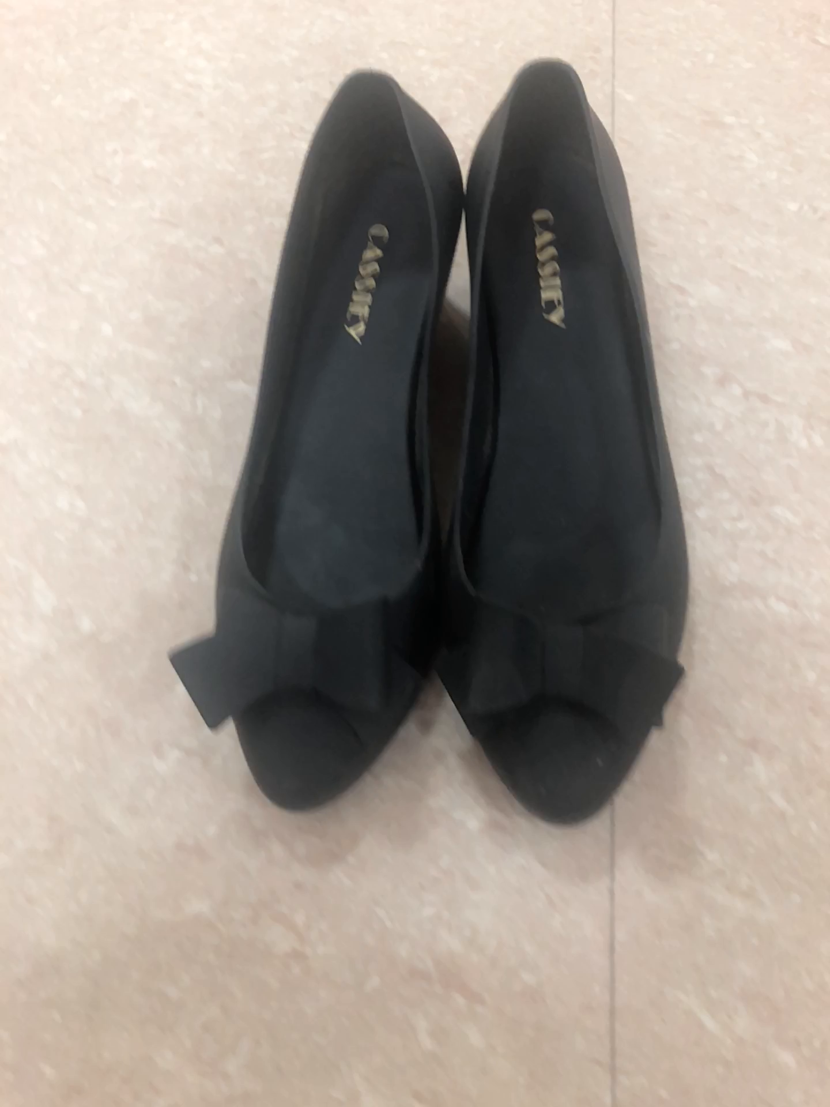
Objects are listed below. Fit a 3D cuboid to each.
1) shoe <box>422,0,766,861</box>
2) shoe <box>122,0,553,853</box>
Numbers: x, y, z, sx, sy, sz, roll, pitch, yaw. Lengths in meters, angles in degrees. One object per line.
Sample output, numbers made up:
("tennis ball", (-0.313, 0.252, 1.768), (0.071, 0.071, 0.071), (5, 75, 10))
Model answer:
("shoe", (0.061, -0.054, 0.344), (0.090, 0.090, 0.310), (1, 68, 7))
("shoe", (-0.009, -0.058, 0.348), (0.090, 0.090, 0.310), (6, 69, 10))
